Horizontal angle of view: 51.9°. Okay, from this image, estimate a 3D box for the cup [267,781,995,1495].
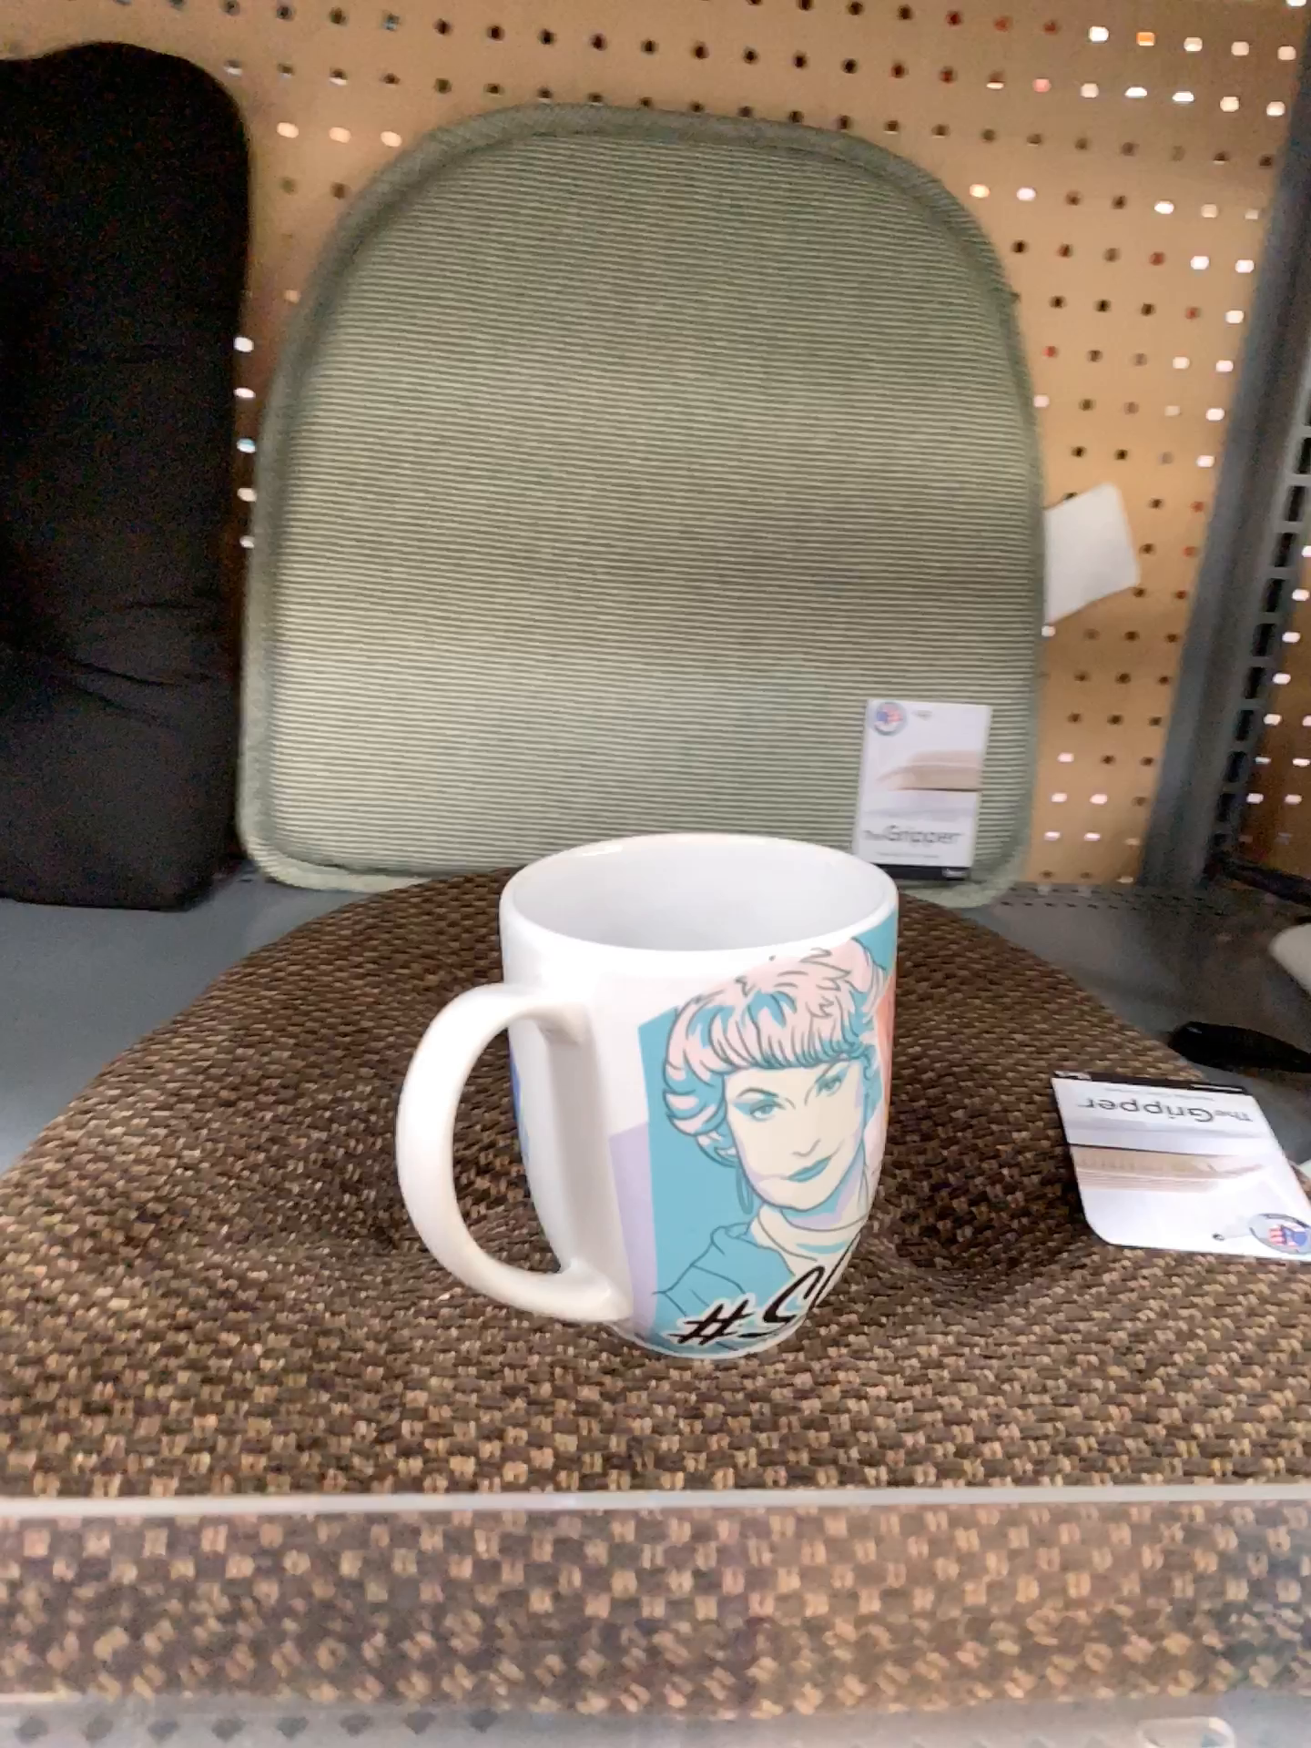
[{"bbox_3d":[-0.007,0.045,0.305,0.128,0.100,0.090,-11,22,-34],"label":"cup"}]
